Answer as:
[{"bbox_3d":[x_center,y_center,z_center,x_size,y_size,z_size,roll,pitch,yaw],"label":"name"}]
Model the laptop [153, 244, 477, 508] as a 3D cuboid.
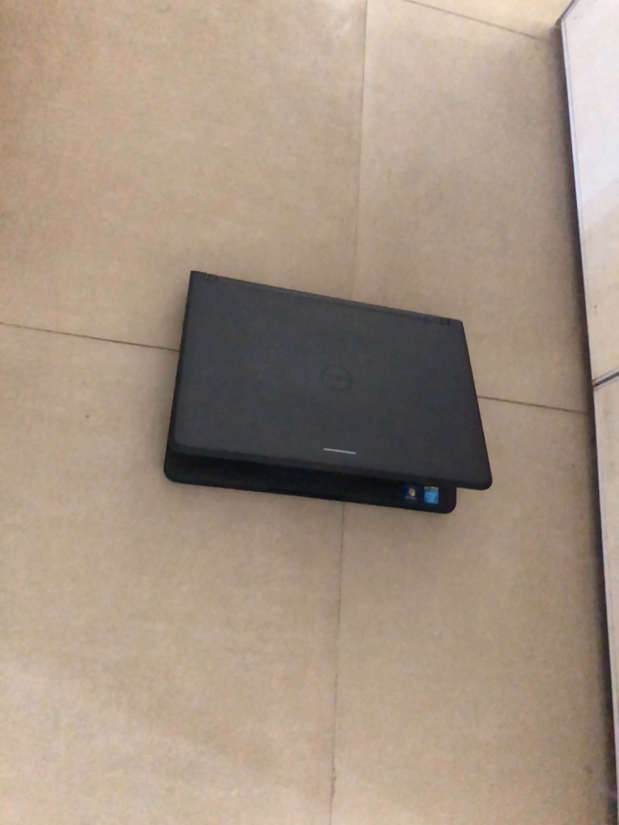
[{"bbox_3d":[0.013,-0.032,0.721,0.315,0.064,0.220,8,76,-12],"label":"laptop"}]
